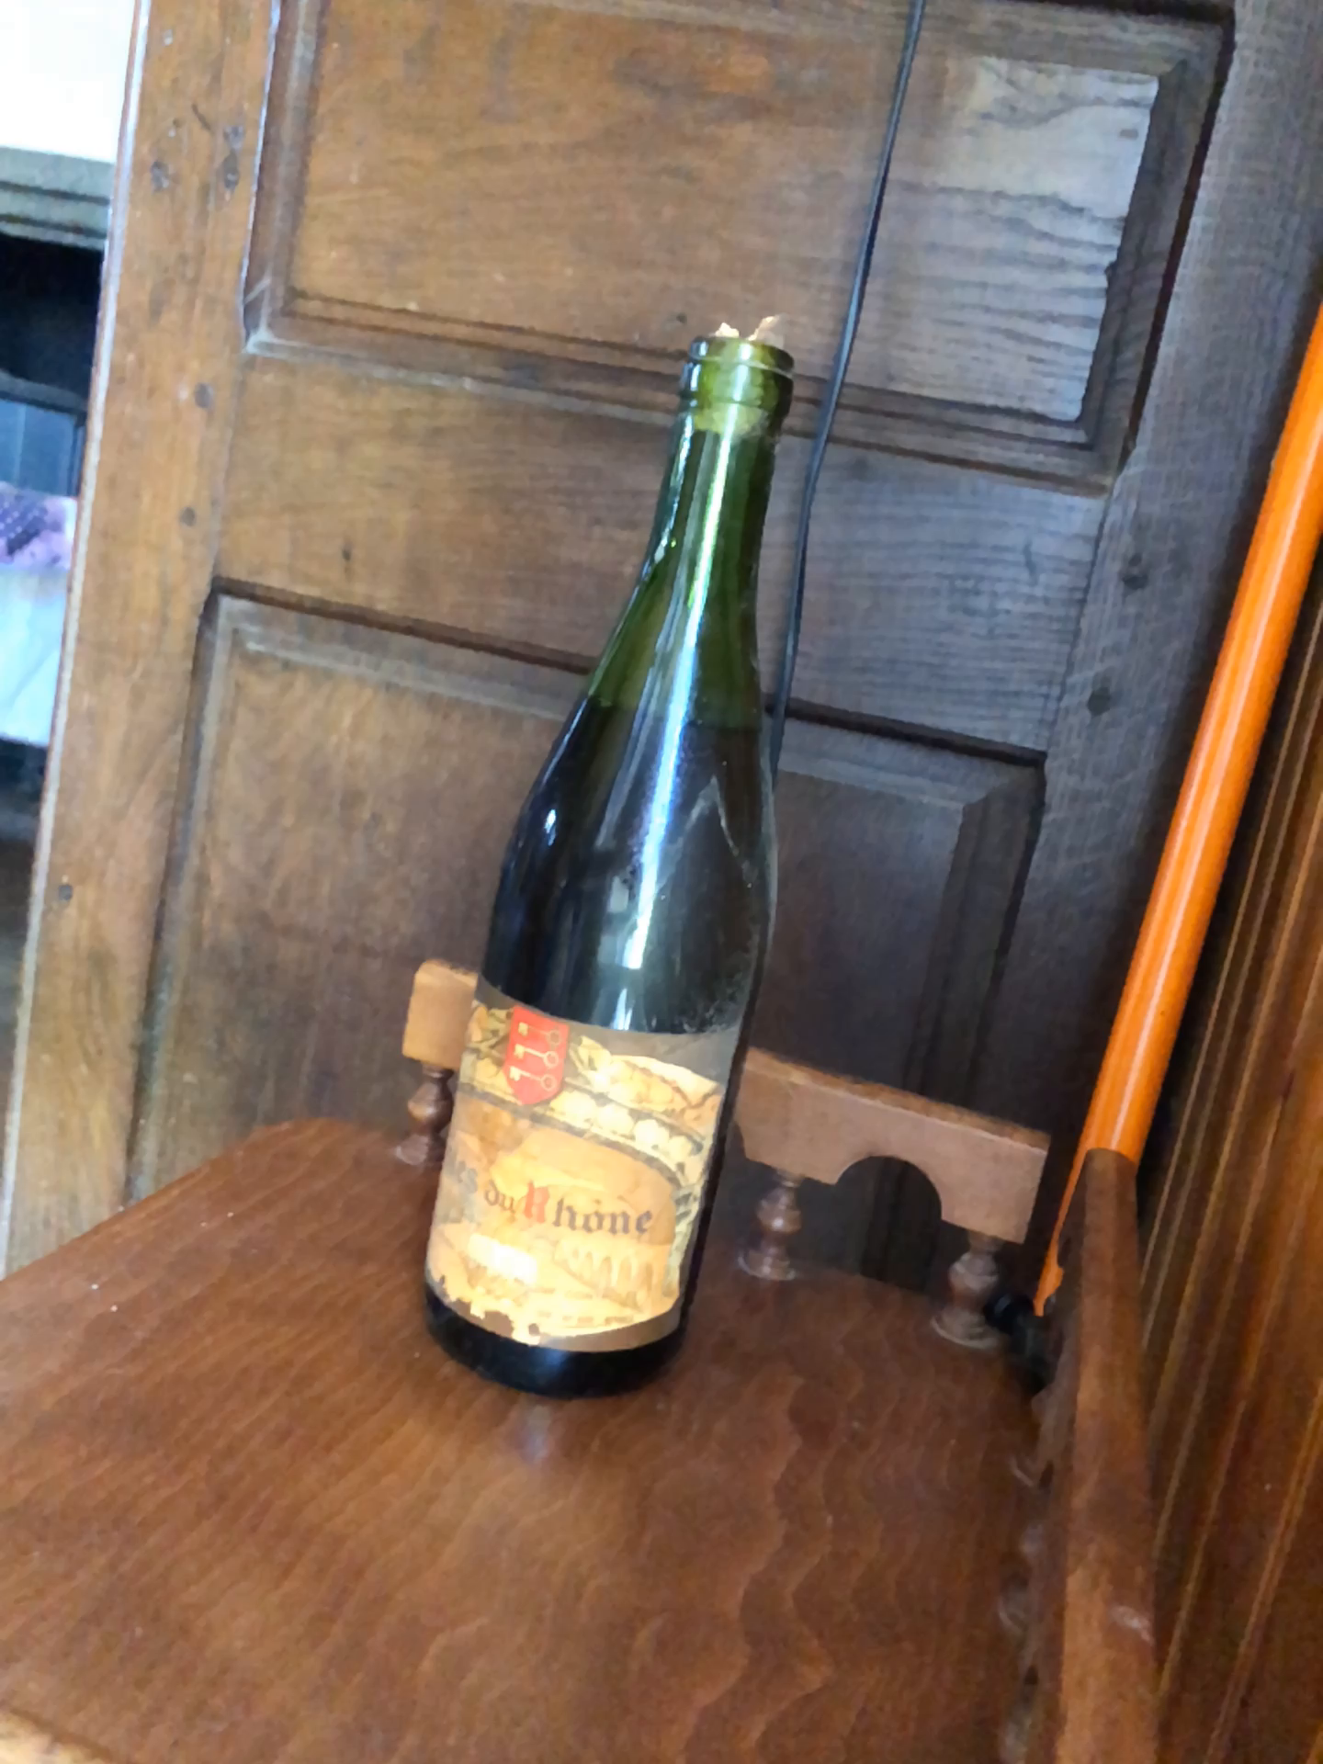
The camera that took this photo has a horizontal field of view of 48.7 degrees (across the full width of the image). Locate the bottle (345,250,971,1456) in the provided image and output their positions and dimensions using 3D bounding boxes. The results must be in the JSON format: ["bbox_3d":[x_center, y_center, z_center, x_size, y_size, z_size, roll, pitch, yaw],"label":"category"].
[{"bbox_3d":[-0.002,-0.008,0.394,0.090,0.279,0.090,10,11,-2],"label":"bottle"}]
